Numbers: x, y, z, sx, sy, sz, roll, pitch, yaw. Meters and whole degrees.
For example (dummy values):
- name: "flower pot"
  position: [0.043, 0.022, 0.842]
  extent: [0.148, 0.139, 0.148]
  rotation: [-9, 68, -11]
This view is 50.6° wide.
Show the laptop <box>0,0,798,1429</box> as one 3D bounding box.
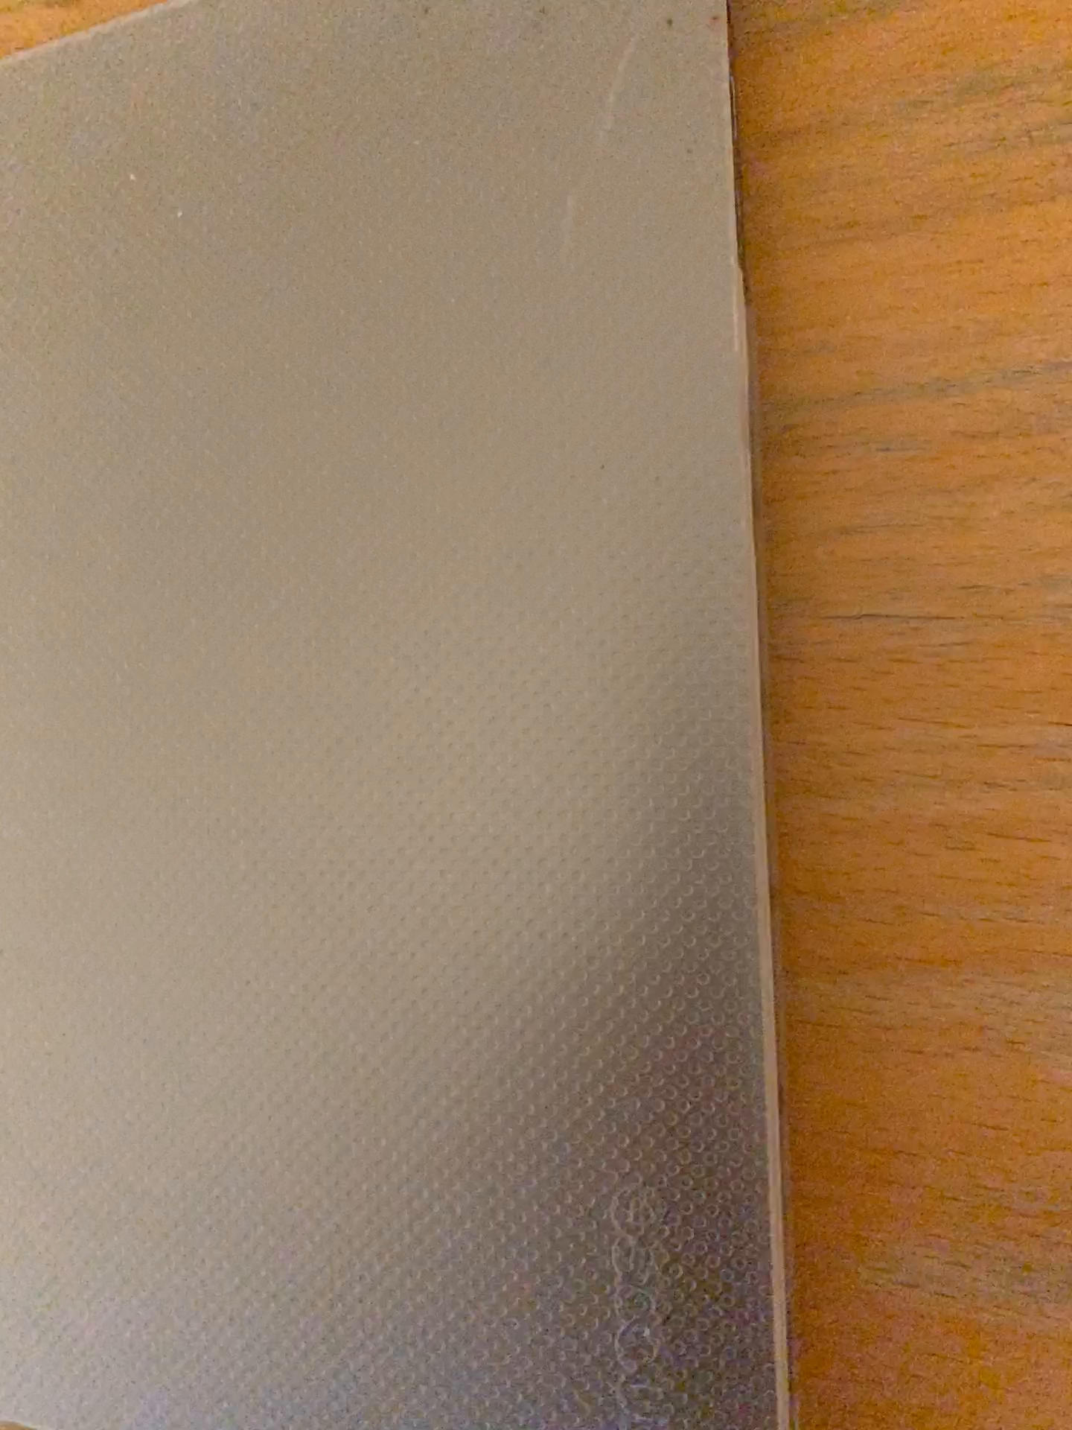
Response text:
- name: "laptop"
  position: [-0.107, 0.003, 0.199]
  extent: [0.293, 0.005, 0.210]
  rotation: [-3, 86, 24]
